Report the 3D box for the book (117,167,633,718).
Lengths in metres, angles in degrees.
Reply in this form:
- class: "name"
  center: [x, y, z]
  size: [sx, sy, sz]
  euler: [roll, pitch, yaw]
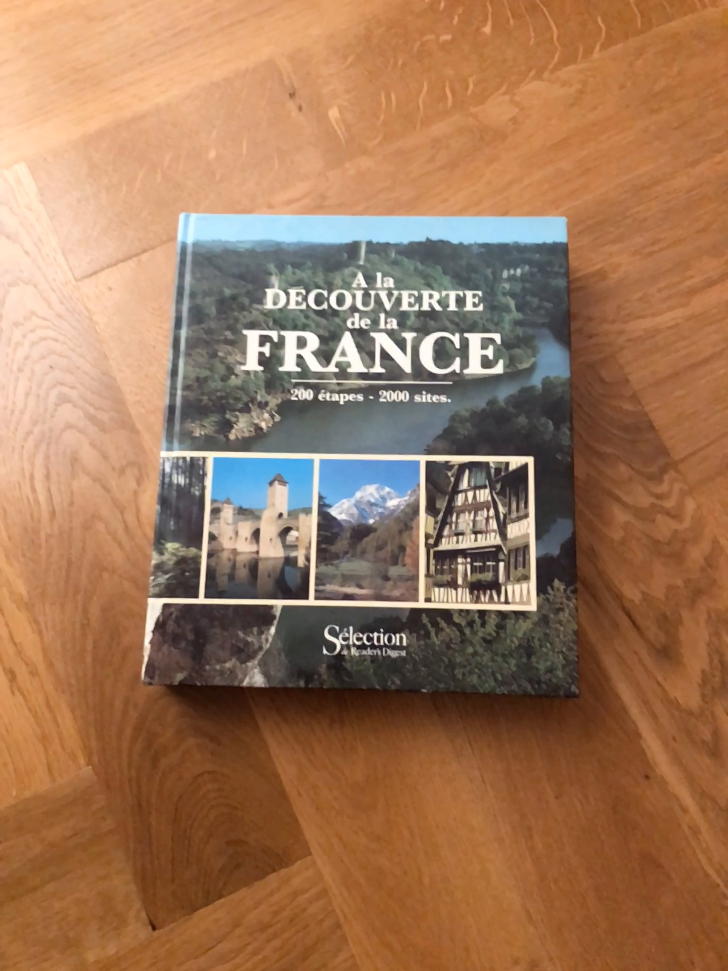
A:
- class: "book"
  center: [0.010, -0.030, 0.438]
  size: [0.250, 0.040, 0.290]
  euler: [2, 78, 2]
